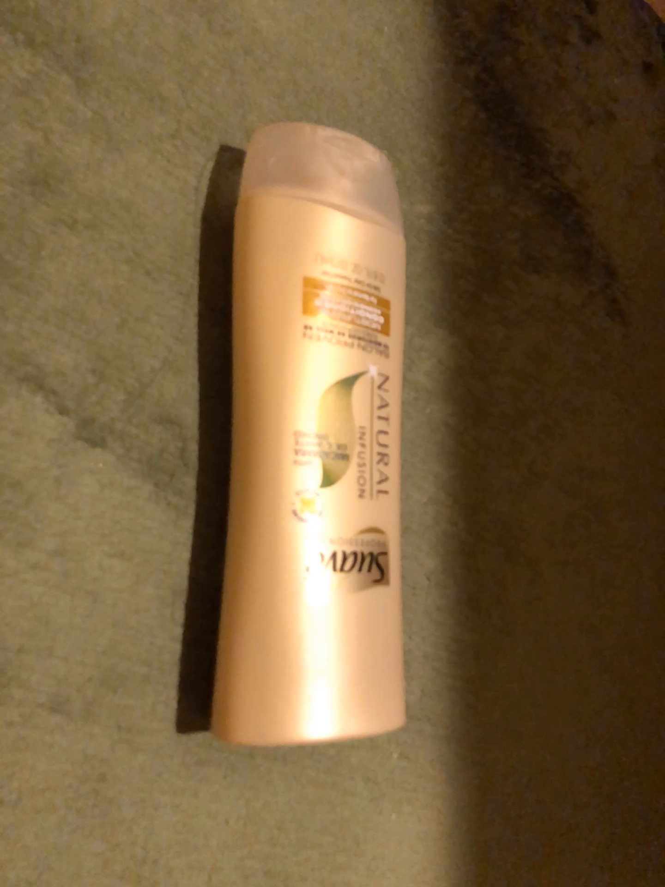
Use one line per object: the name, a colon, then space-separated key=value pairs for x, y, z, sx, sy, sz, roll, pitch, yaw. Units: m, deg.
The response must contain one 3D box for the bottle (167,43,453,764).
bottle: x=-0.004 y=-0.013 z=0.261 sx=0.080 sy=0.050 sz=0.220 roll=8 pitch=80 yaw=-34
